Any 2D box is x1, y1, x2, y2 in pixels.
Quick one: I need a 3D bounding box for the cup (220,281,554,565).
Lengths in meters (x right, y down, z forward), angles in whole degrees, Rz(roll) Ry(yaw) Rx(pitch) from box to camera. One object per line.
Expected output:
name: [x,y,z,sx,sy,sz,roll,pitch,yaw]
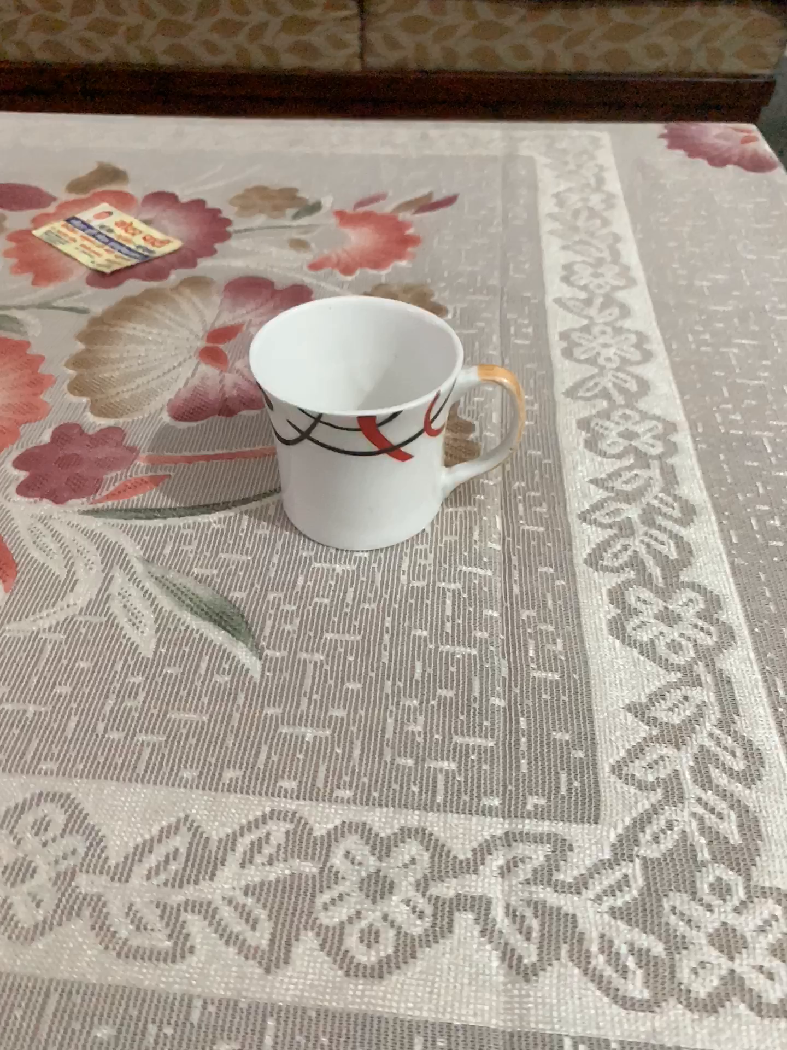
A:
cup: [-0.002,-0.034,0.266,0.090,0.060,0.070,-1,44,0]
